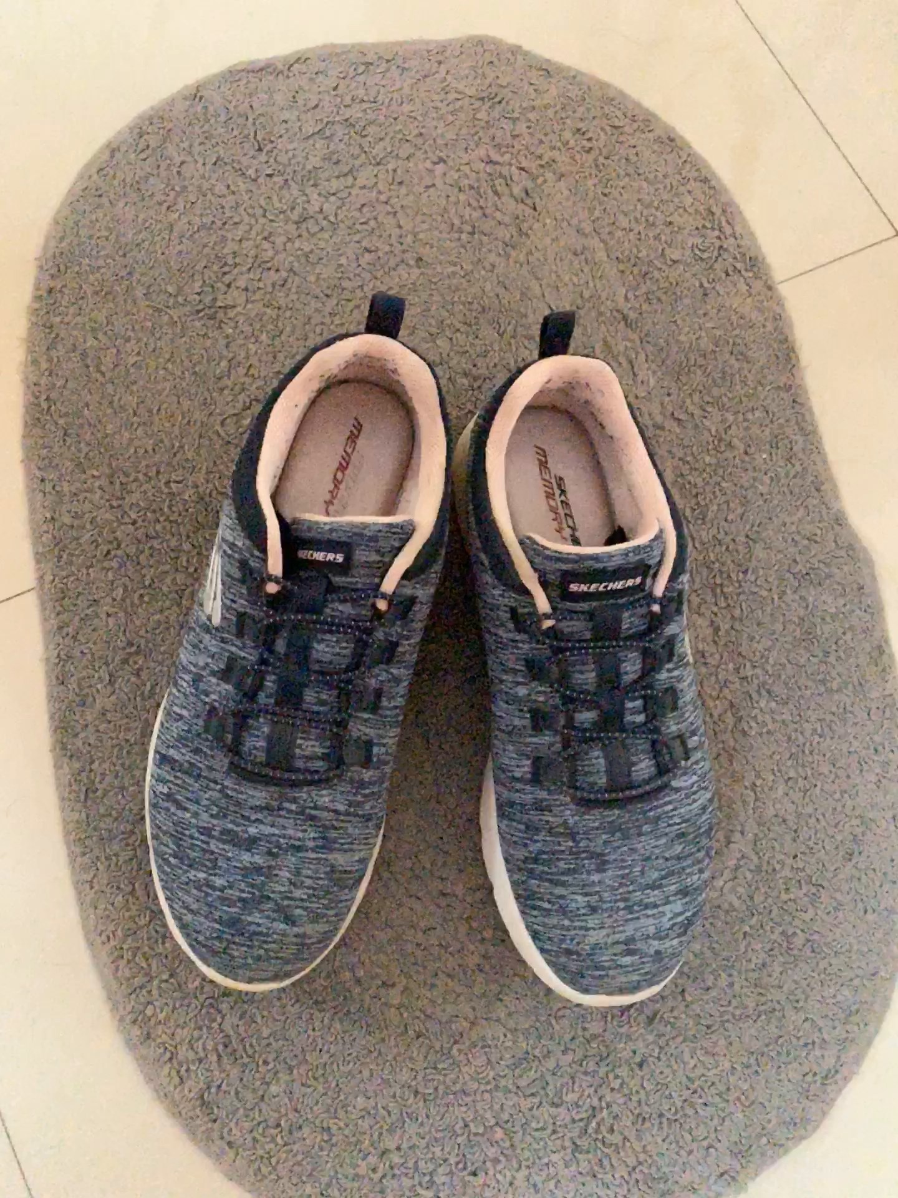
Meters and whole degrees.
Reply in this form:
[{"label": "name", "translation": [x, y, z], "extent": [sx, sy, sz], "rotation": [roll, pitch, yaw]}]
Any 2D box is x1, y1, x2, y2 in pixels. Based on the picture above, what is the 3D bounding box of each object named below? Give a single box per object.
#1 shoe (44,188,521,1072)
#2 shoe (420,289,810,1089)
[{"label": "shoe", "translation": [-0.047, 0.006, 0.334], "extent": [0.090, 0.100, 0.271], "rotation": [11, 72, -5]}, {"label": "shoe", "translation": [0.052, 0.028, 0.388], "extent": [0.100, 0.100, 0.291], "rotation": [-4, 74, -6]}]
